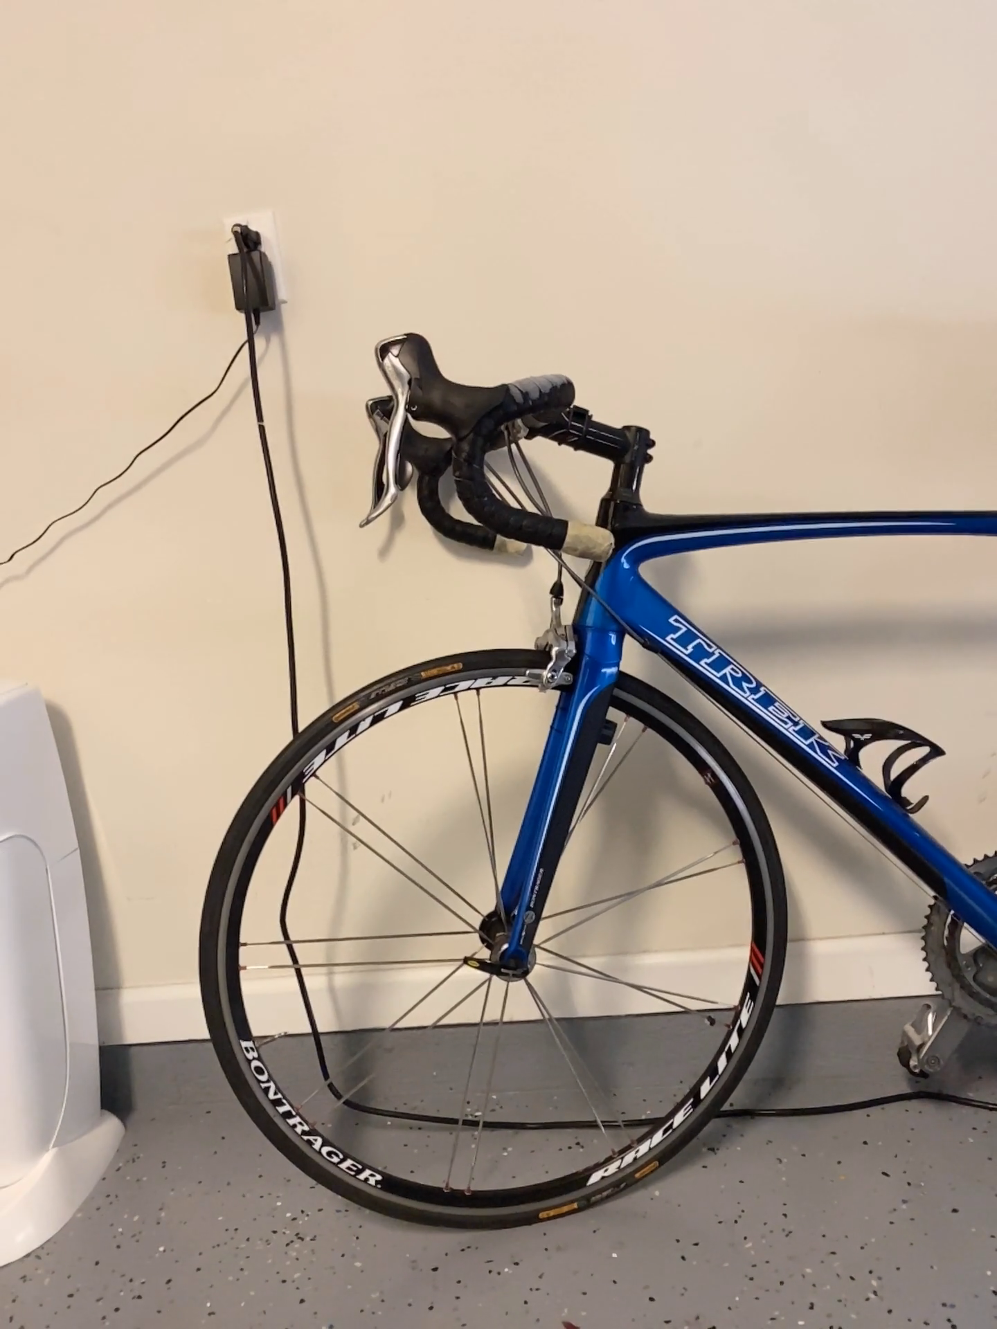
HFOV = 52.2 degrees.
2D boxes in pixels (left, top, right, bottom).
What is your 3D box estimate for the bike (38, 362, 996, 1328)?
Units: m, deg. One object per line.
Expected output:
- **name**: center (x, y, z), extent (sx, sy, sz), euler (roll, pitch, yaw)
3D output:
- **bike**: center (0.551, 0.183, 1.015), extent (1.638, 0.883, 0.401), euler (-3, 8, -6)
